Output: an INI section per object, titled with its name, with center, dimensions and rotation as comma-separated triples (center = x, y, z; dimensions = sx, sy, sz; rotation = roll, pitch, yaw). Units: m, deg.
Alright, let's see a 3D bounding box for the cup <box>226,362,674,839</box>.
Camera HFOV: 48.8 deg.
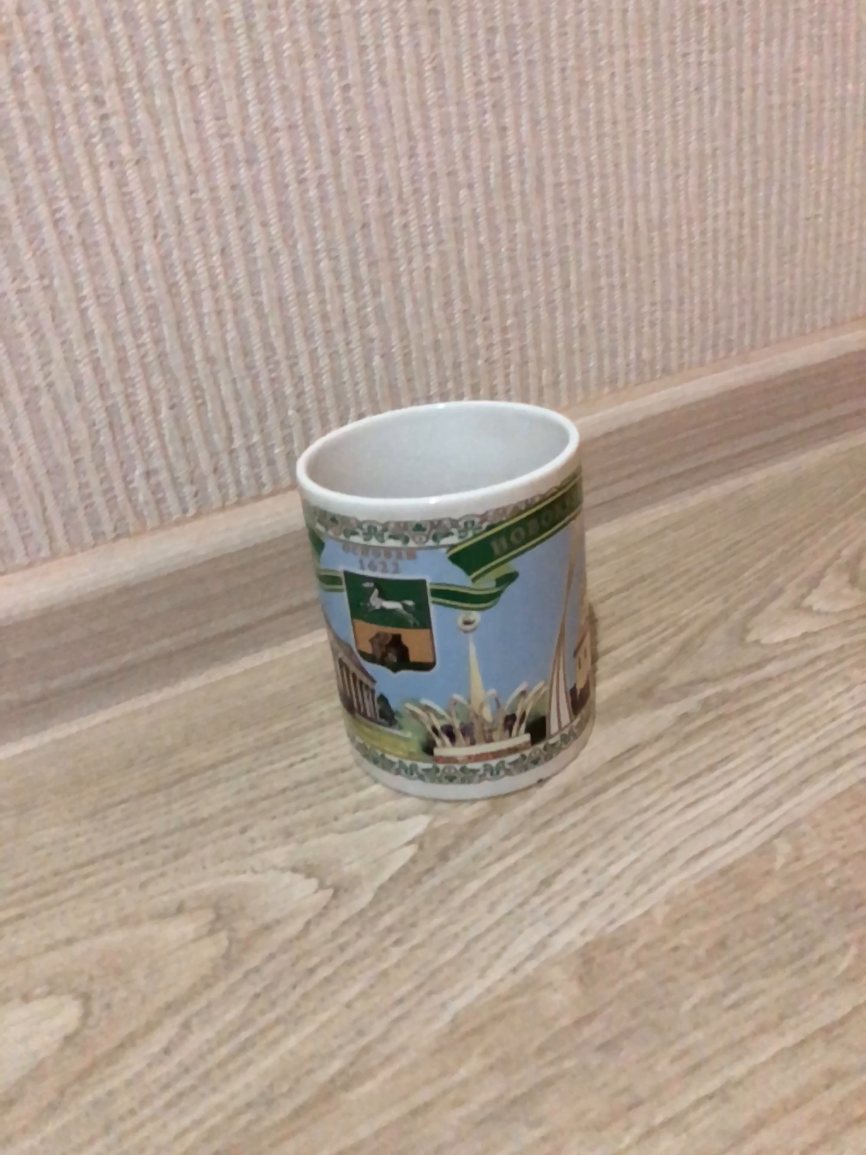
[cup]
center = 0.016, -0.004, 0.303
dimensions = 0.082, 0.096, 0.121
rotation = 8, 30, 31
